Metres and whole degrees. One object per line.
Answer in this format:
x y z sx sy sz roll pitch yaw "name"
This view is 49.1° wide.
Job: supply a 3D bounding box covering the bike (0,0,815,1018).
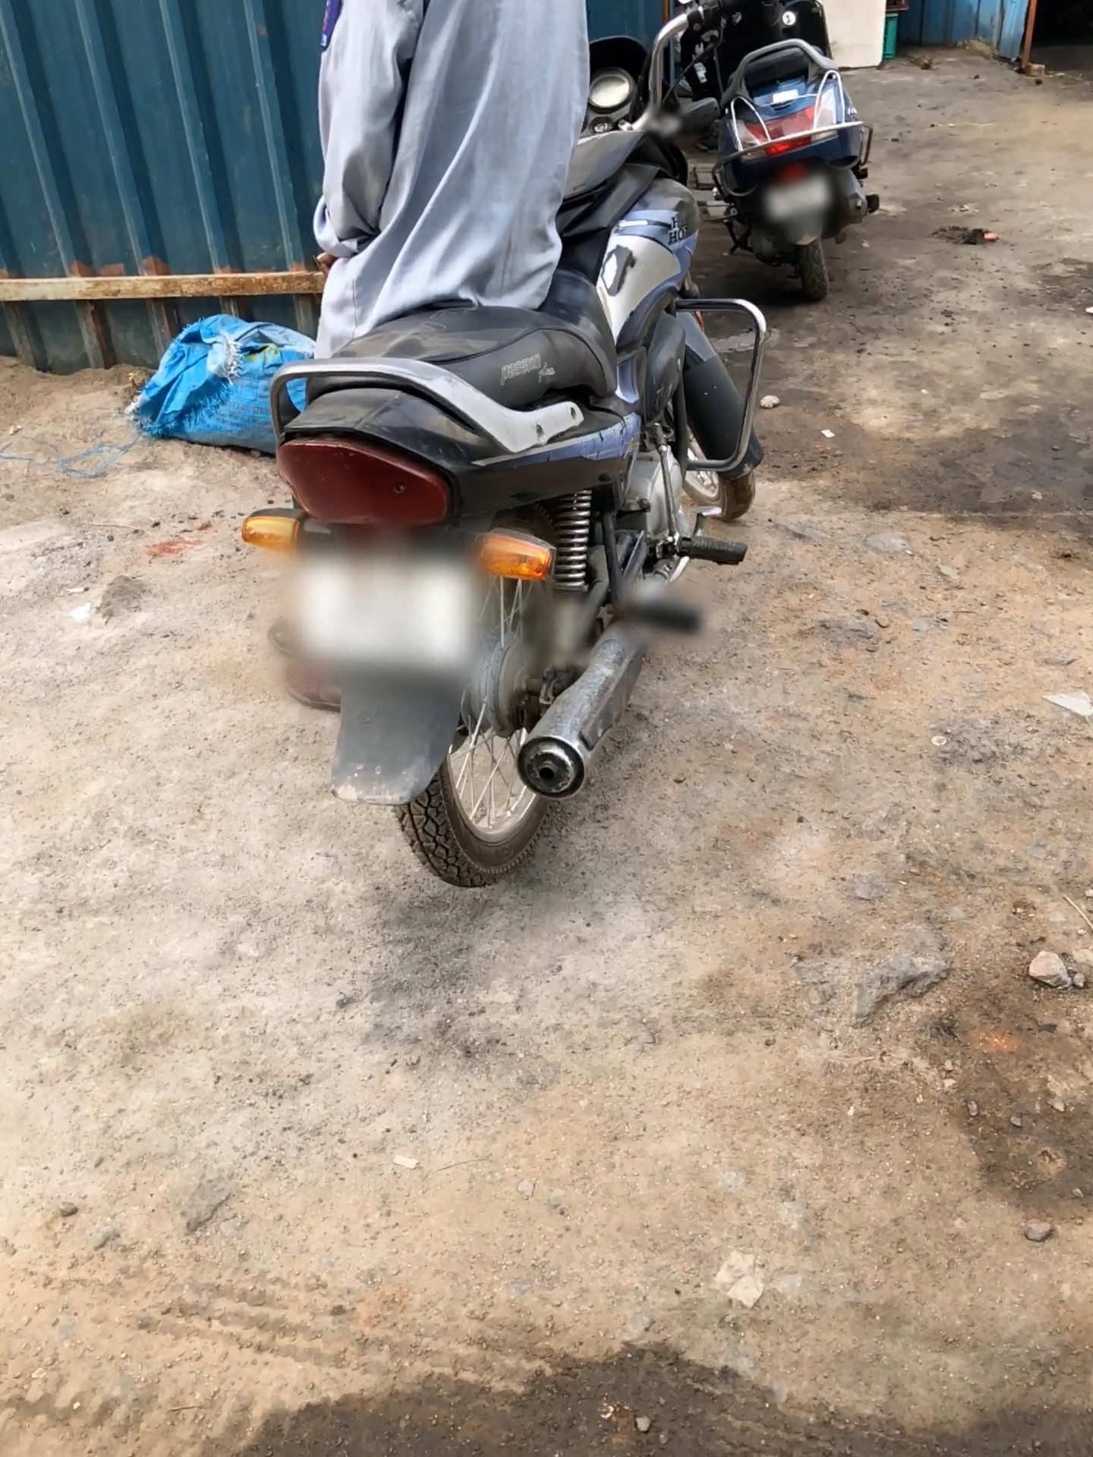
-0.002 -0.665 2.131 0.783 1.154 1.813 5 37 13 "bike"
